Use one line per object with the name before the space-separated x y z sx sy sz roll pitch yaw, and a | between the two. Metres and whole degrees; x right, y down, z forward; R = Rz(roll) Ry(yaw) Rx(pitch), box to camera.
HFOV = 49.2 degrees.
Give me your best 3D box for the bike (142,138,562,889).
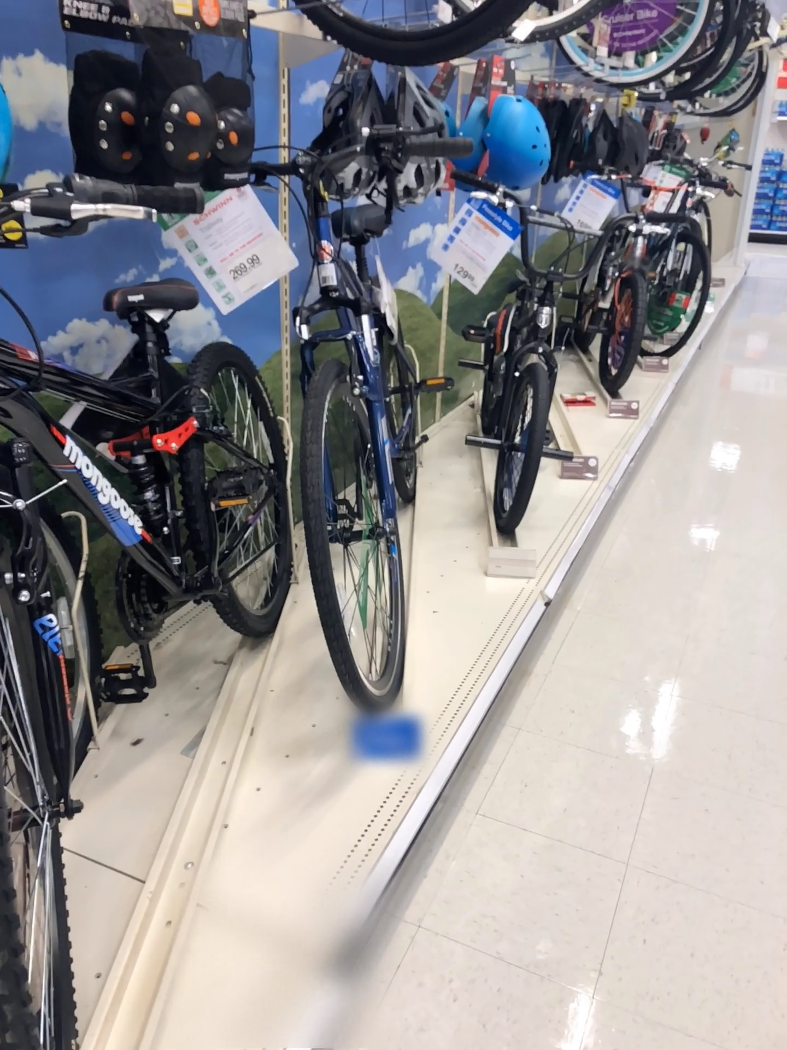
bike | -0.041 -0.280 2.077 0.529 1.098 1.747 3 26 2
